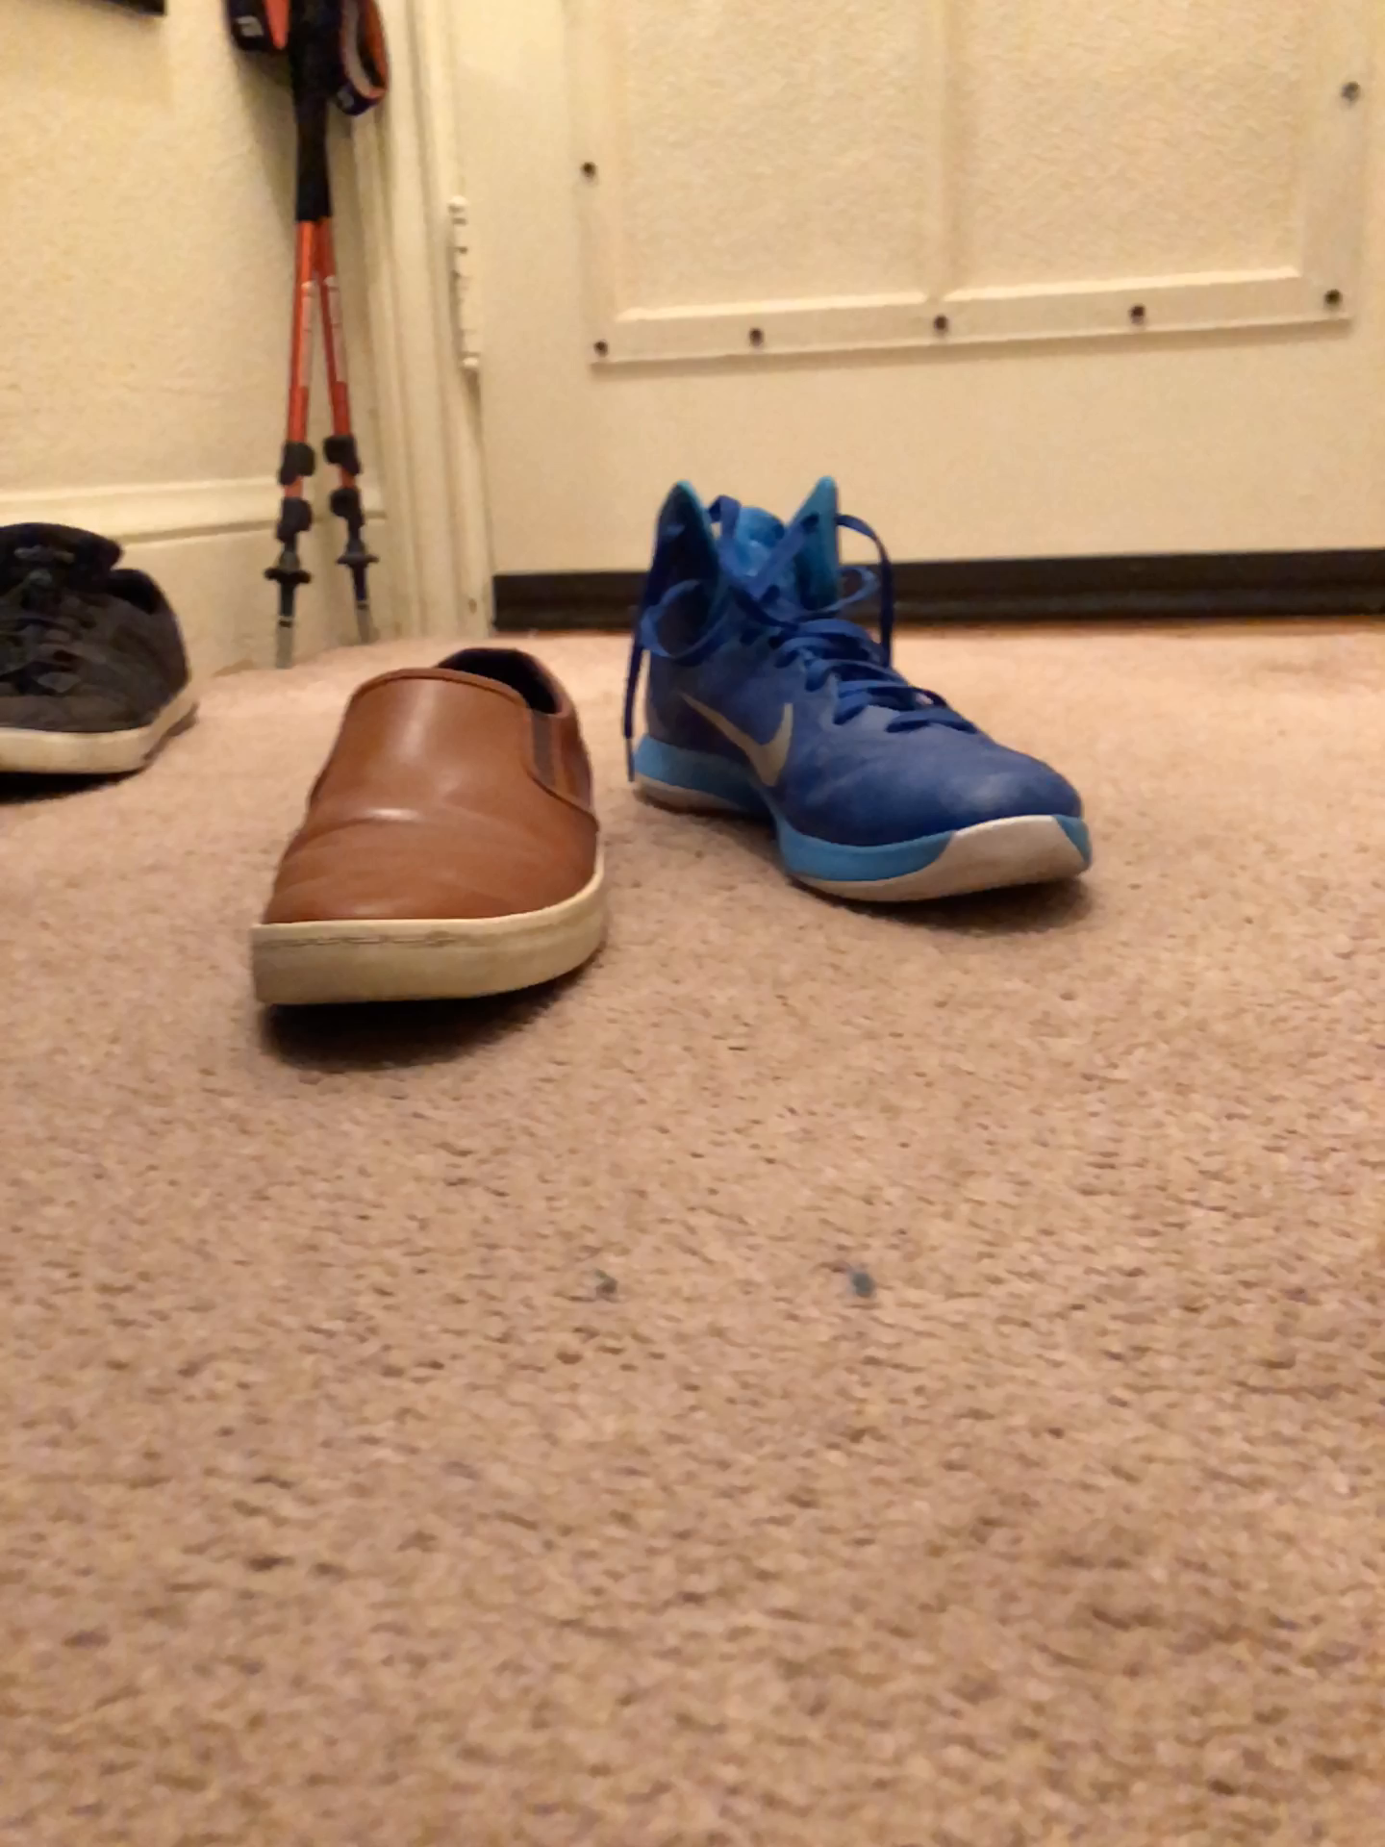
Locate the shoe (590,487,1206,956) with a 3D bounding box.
[{"bbox_3d":[0.064,-0.104,0.637,0.115,0.143,0.293,-9,18,-21],"label":"shoe"}]

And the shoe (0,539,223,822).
[{"bbox_3d":[-0.360,-0.149,0.864,0.115,0.113,0.293,-4,17,-5],"label":"shoe"}]

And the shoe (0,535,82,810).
[{"bbox_3d":[-0.462,-0.156,0.883,0.115,0.113,0.293,-4,17,-5],"label":"shoe"}]

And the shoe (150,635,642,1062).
[{"bbox_3d":[-0.084,-0.044,0.553,0.105,0.083,0.283,-1,17,3],"label":"shoe"}]
